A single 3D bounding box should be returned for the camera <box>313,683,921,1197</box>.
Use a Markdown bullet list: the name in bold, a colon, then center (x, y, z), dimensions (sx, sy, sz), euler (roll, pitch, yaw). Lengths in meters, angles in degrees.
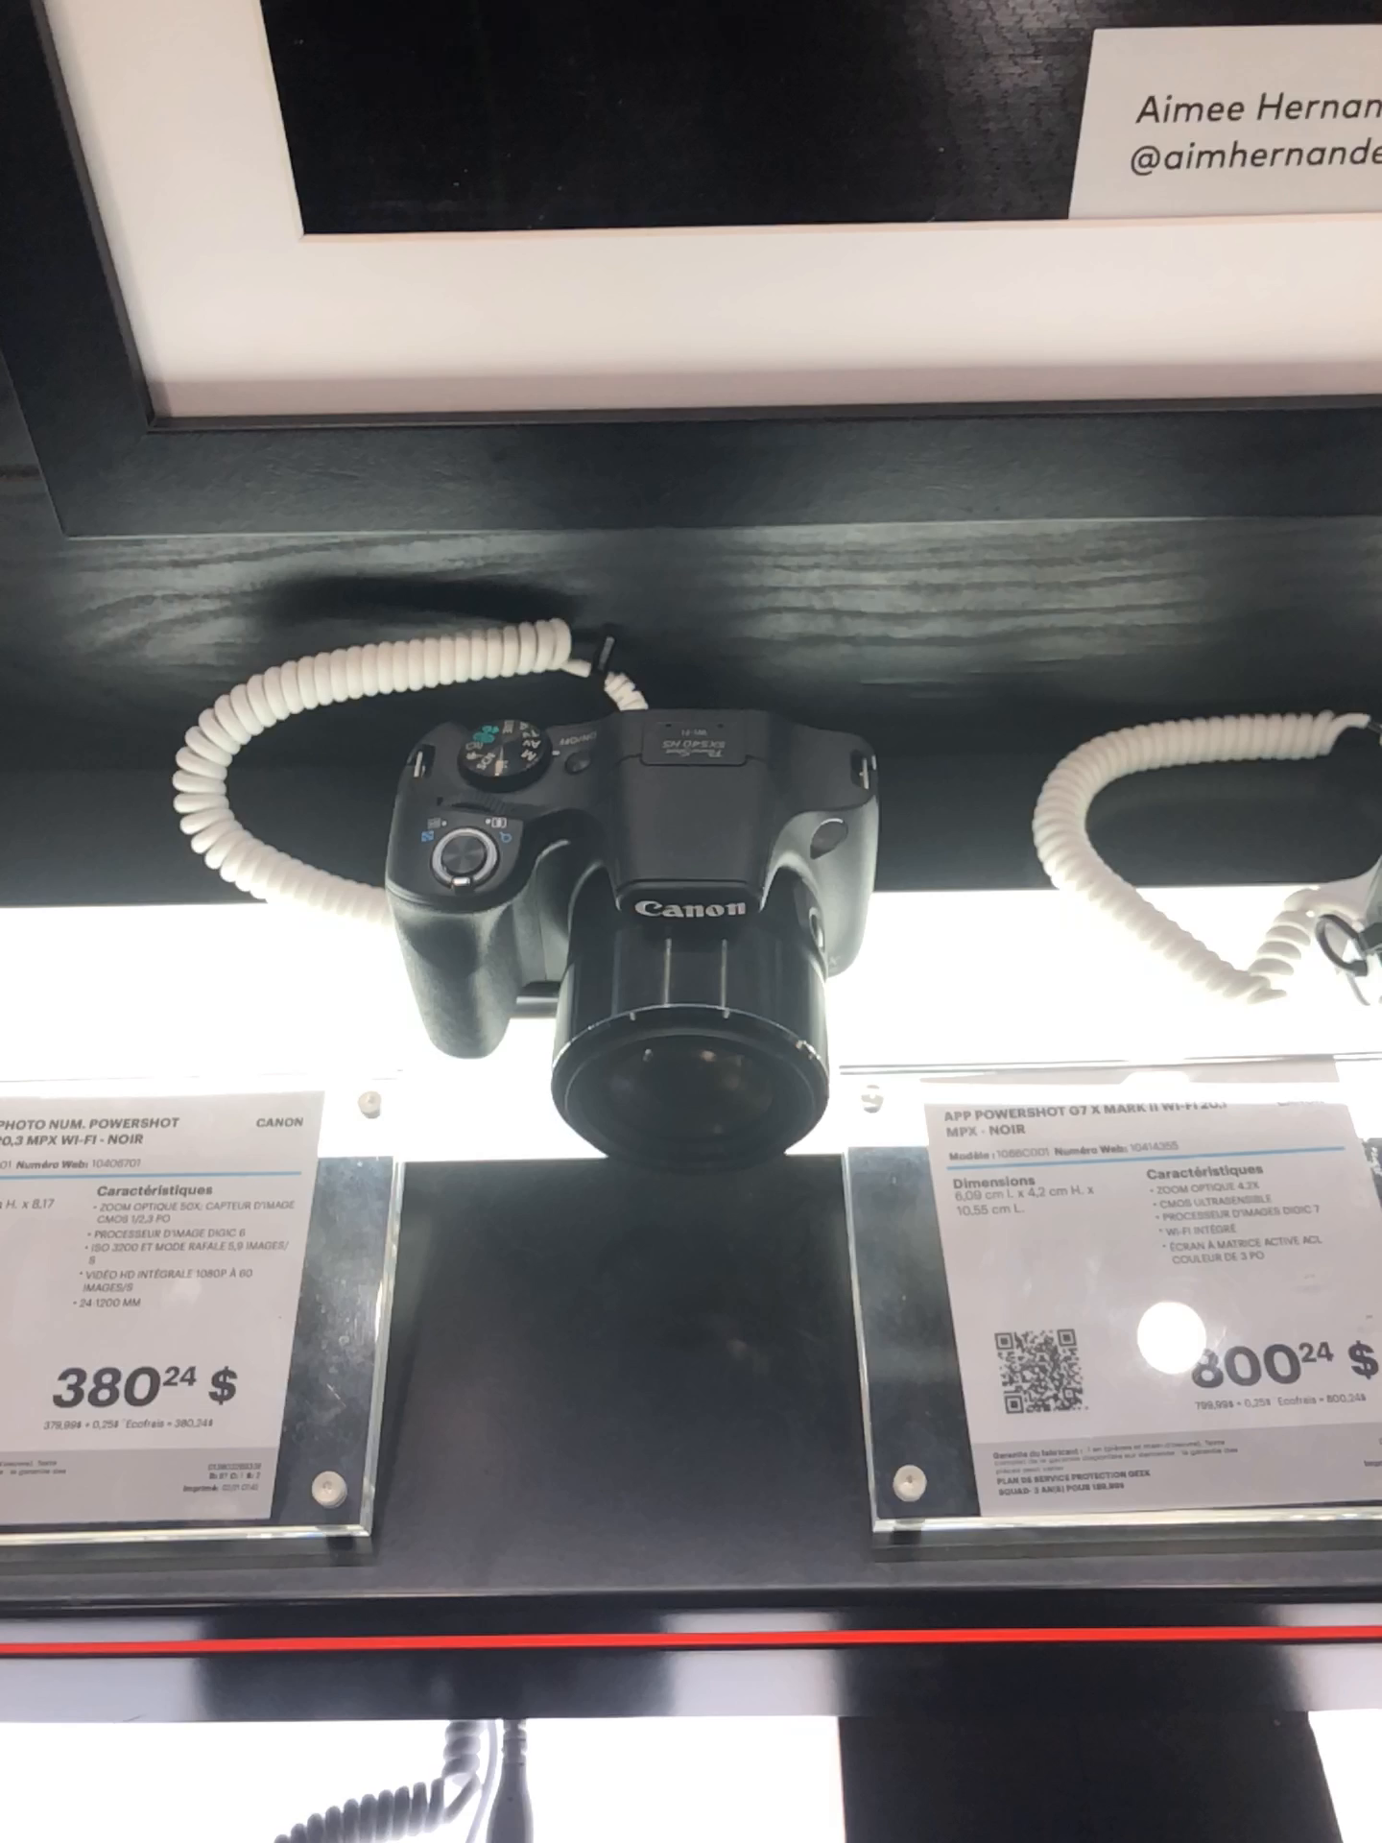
- **camera**: center (-0.015, 0.006, 0.367), dimensions (0.122, 0.099, 0.071), euler (-1, 43, 0)
